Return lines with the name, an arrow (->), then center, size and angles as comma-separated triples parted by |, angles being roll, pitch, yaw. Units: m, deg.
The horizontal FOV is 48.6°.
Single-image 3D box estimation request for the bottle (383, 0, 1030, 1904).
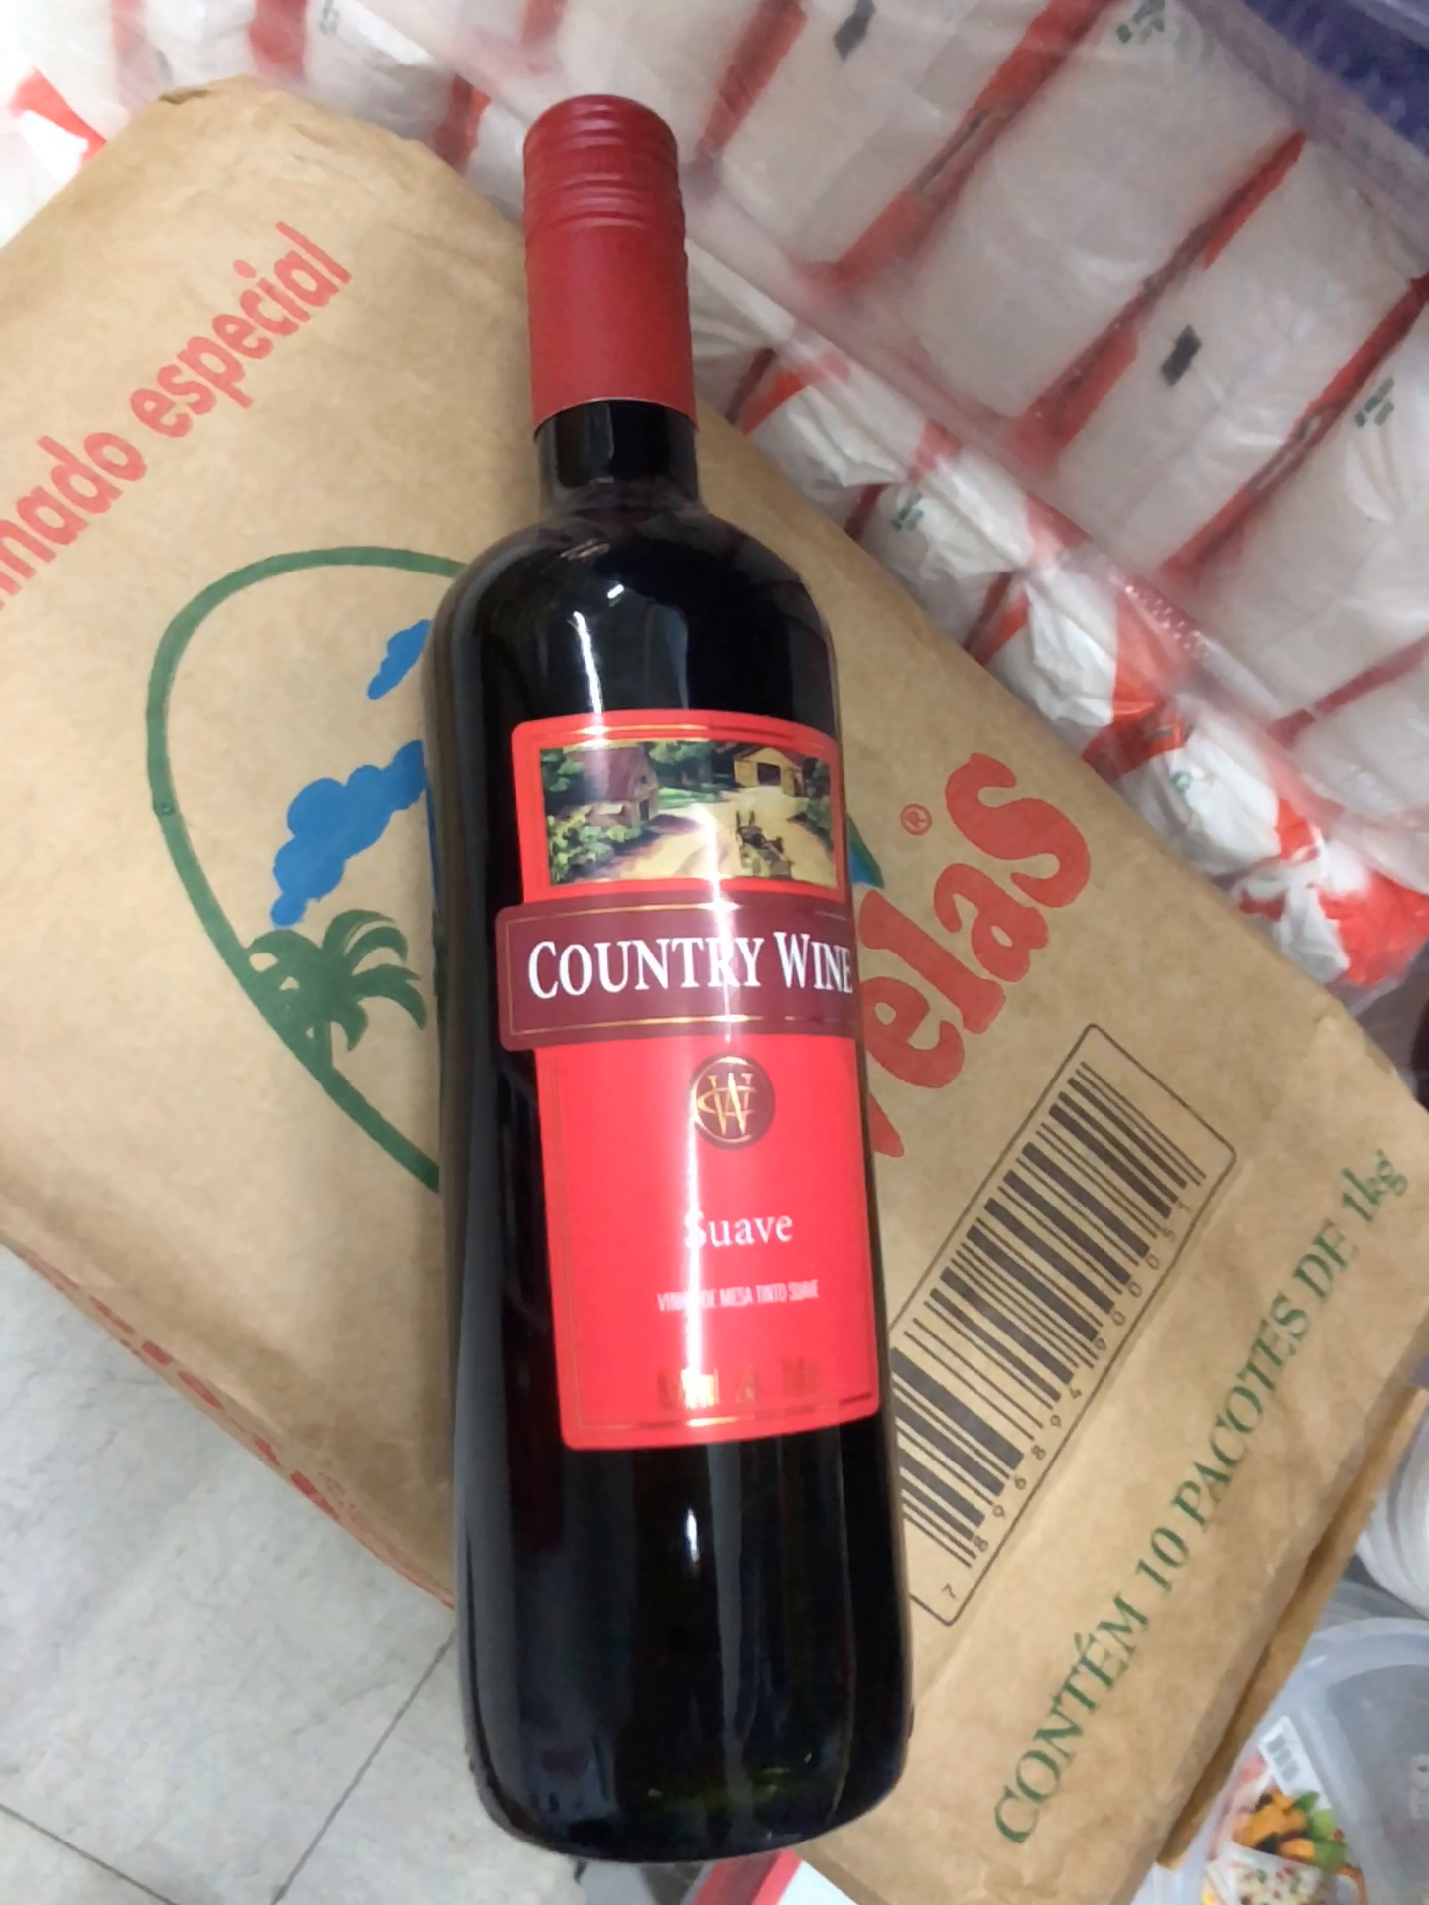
bottle -> -0.007, -0.006, 0.261 | 0.080, 0.060, 0.290 | -2, 87, -15
